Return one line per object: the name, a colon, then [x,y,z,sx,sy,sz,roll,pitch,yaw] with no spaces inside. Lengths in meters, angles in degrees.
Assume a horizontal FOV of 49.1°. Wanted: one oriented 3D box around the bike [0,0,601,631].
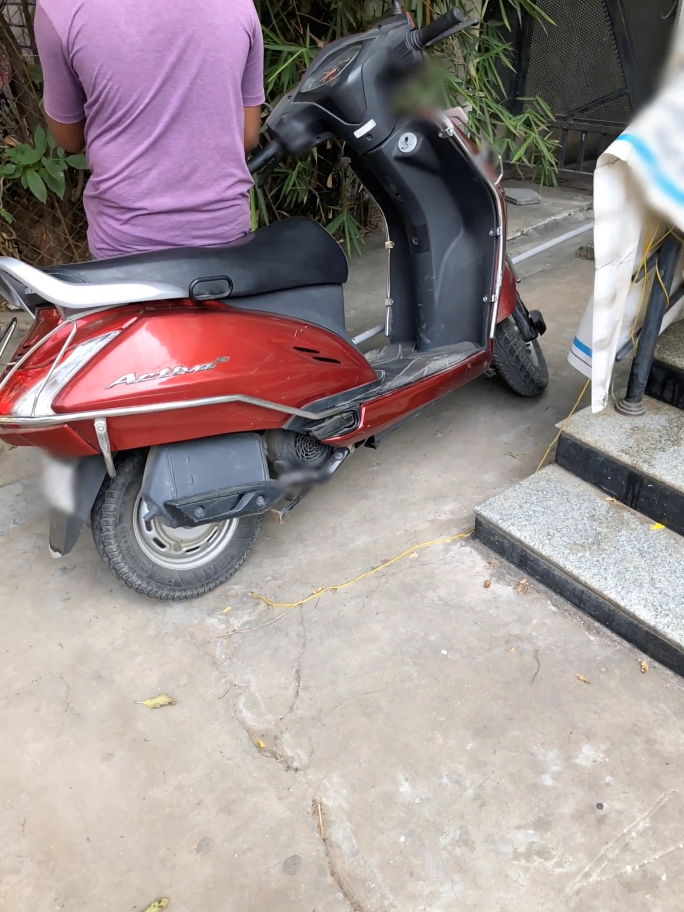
bike: [-0.078,-0.521,1.863,0.573,1.056,1.484,27,45,36]
